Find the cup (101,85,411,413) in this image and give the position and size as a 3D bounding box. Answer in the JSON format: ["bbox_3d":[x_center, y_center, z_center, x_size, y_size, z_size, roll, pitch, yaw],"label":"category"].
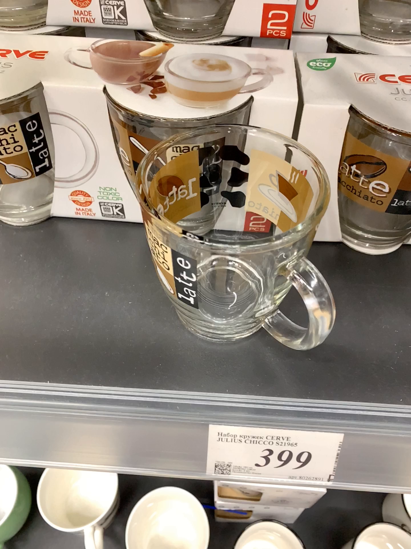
[{"bbox_3d":[0.017,-0.018,0.215,0.084,0.086,0.119,-24,55,-20],"label":"cup"}]
